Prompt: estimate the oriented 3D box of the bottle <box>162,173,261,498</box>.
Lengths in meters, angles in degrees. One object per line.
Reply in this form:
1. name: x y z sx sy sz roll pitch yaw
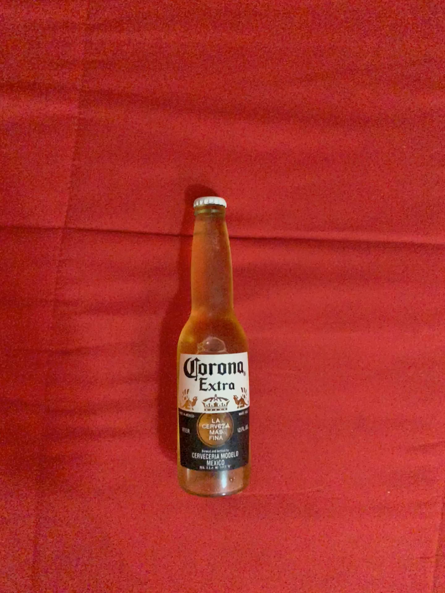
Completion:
1. bottle: -0.008 0.030 0.387 0.070 0.070 0.250 -1 93 -1
